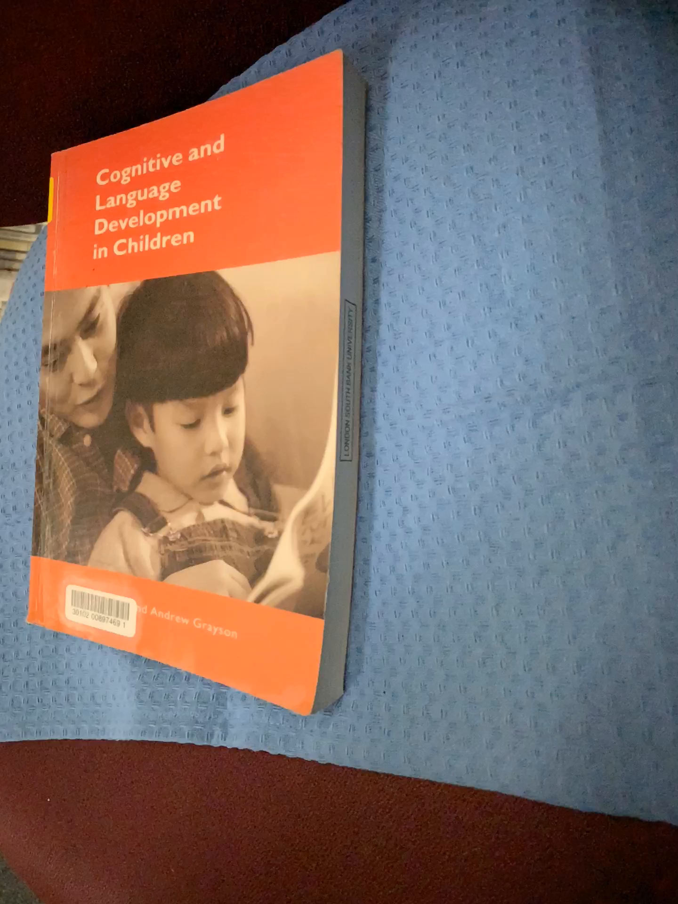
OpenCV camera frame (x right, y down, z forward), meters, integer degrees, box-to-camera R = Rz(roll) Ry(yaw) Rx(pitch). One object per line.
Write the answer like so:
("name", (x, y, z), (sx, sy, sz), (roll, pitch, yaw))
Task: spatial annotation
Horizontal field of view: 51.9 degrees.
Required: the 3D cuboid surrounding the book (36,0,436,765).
("book", (-0.061, -0.031, 0.323), (0.201, 0.060, 0.270), (3, 92, 40))
